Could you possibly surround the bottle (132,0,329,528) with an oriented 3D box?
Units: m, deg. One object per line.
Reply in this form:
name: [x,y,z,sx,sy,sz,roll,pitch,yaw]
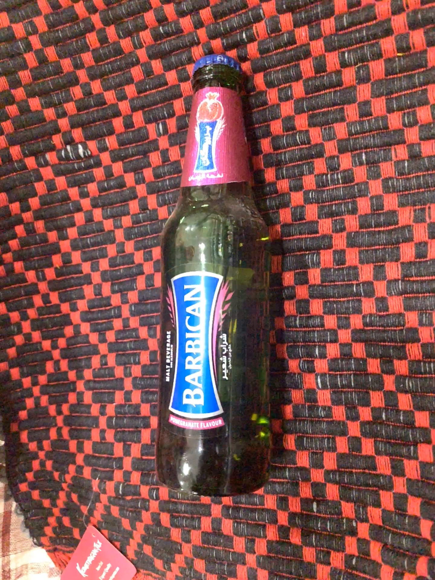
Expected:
bottle: [0.017,-0.016,0.248,0.070,0.080,0.240,-3,76,26]
